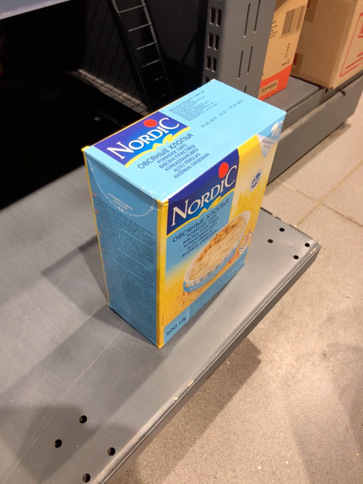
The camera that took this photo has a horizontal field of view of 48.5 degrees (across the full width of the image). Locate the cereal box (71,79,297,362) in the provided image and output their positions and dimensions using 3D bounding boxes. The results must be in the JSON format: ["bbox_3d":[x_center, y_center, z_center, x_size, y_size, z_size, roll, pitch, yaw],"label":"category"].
[{"bbox_3d":[0.005,-0.016,0.347,0.080,0.179,0.151,33,53,24],"label":"cereal box"}]
